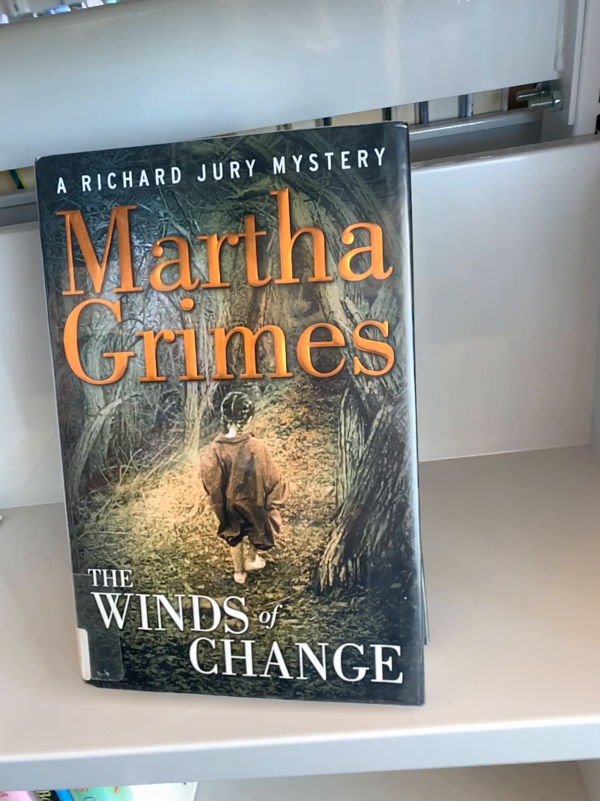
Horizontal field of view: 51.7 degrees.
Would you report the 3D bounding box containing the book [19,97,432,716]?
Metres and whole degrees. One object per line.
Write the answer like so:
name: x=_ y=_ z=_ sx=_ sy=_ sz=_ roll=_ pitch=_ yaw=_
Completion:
book: x=-0.027 y=0.009 z=0.282 sx=0.160 sy=0.244 sz=0.050 roll=-3 pitch=6 yaw=11
